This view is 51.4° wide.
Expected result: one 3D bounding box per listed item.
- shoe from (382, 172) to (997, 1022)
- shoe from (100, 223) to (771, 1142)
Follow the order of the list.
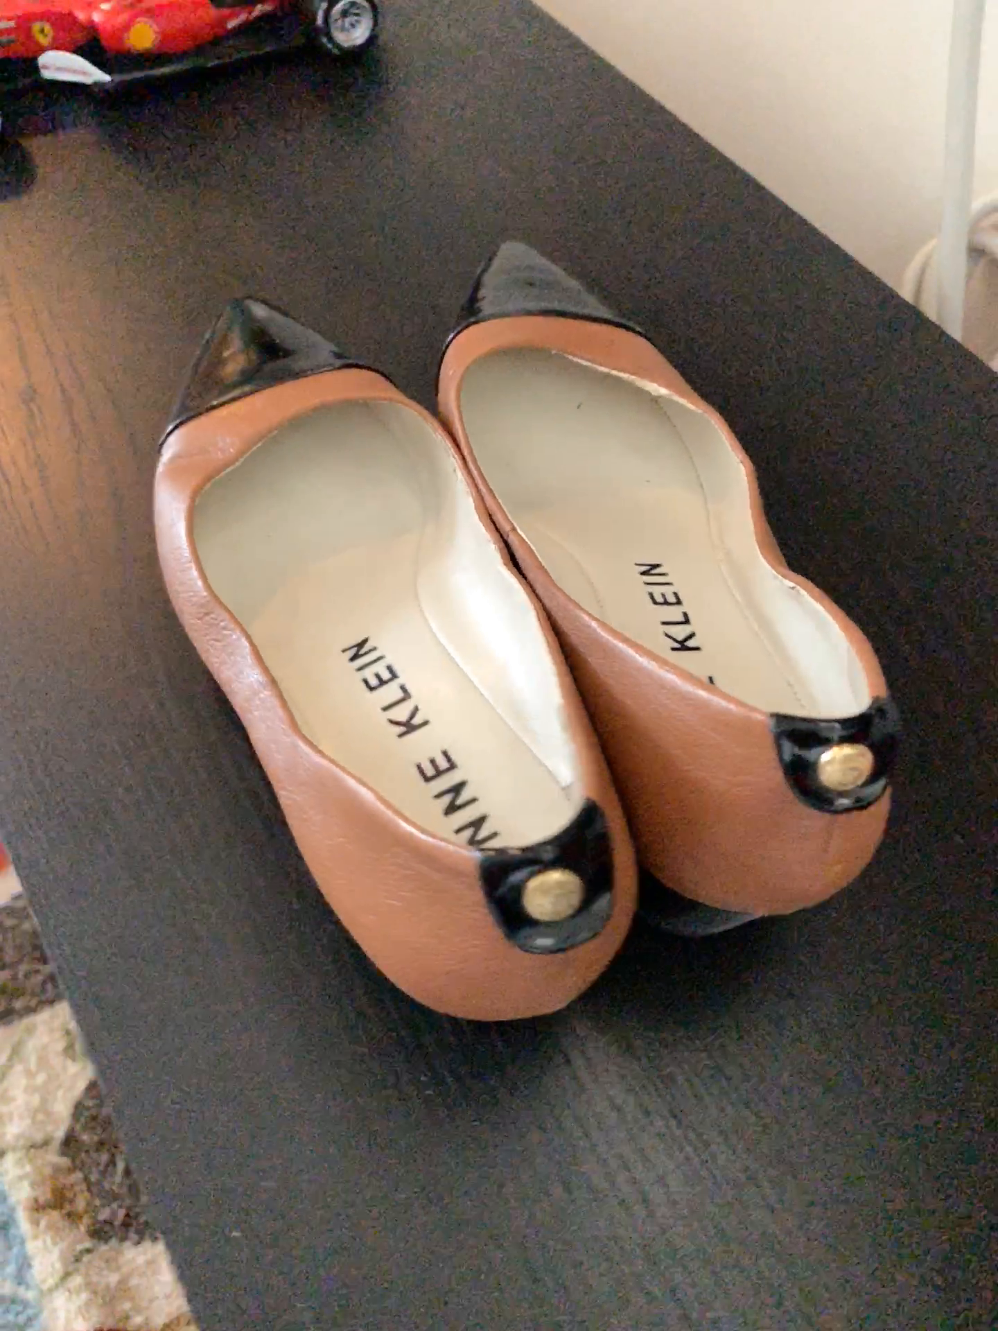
[{"bbox_3d":[0.029,-0.048,0.288,0.080,0.079,0.262,-9,44,-9],"label":"shoe"},{"bbox_3d":[-0.041,-0.030,0.277,0.090,0.079,0.262,-14,43,-14],"label":"shoe"}]
